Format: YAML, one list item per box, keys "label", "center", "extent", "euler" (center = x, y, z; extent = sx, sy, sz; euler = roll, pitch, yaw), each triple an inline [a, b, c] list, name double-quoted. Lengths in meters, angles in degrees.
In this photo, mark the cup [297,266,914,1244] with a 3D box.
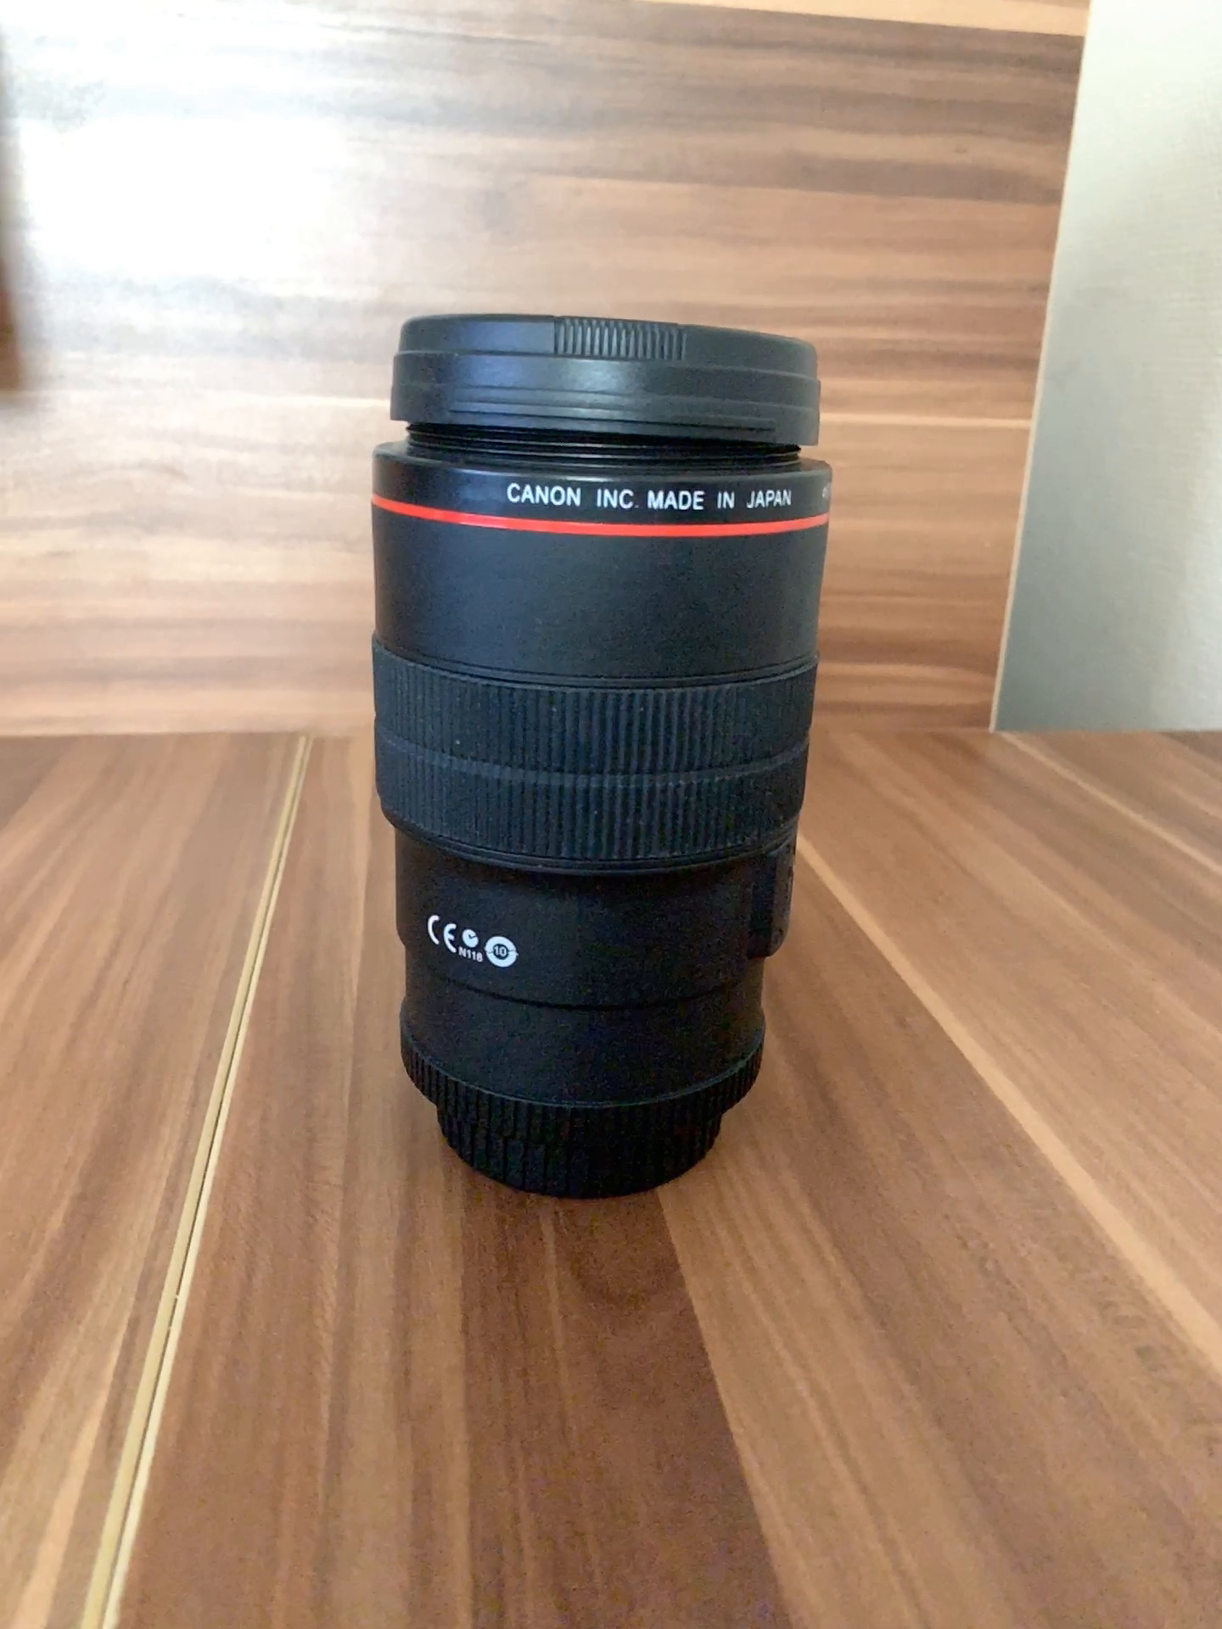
- label: "cup"
  center: [-0.008, -0.016, 0.222]
  extent: [0.070, 0.139, 0.080]
  euler: [-7, 21, -24]
